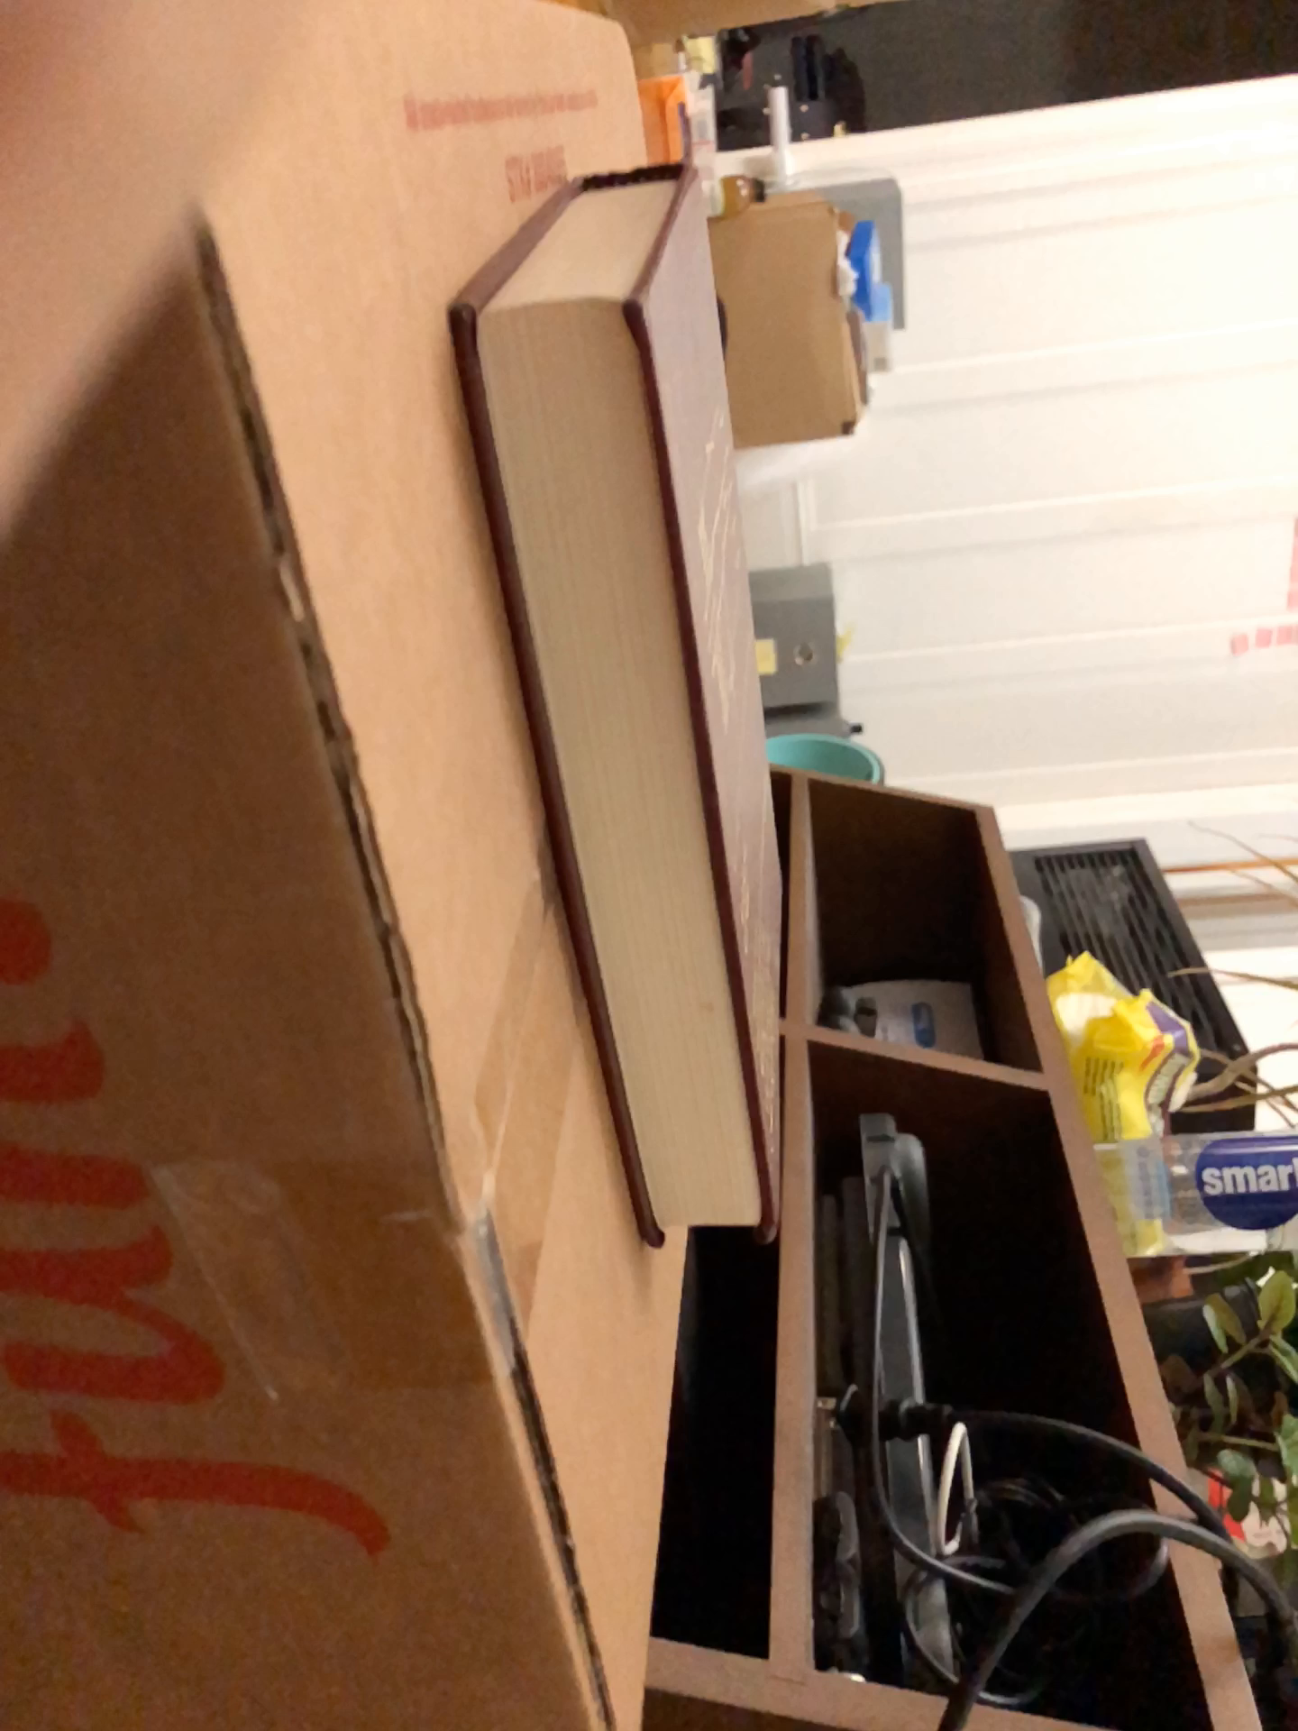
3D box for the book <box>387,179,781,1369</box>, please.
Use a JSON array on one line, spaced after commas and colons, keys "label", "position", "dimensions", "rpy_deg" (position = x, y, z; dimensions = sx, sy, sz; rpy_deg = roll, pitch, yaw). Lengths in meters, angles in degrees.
[{"label": "book", "position": [0.003, -0.030, 0.367], "dimensions": [0.190, 0.040, 0.240], "rpy_deg": [-82, 165, -58]}]
